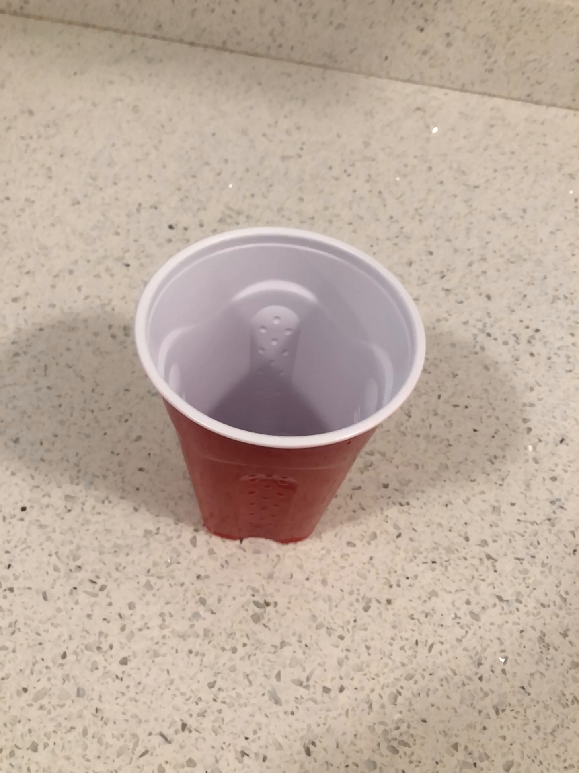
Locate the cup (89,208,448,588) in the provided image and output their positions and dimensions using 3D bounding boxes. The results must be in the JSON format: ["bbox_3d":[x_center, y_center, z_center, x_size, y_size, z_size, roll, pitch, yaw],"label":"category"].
[{"bbox_3d":[-0.006,0.007,0.248,0.100,0.092,0.102,3,53,-4],"label":"cup"}]
